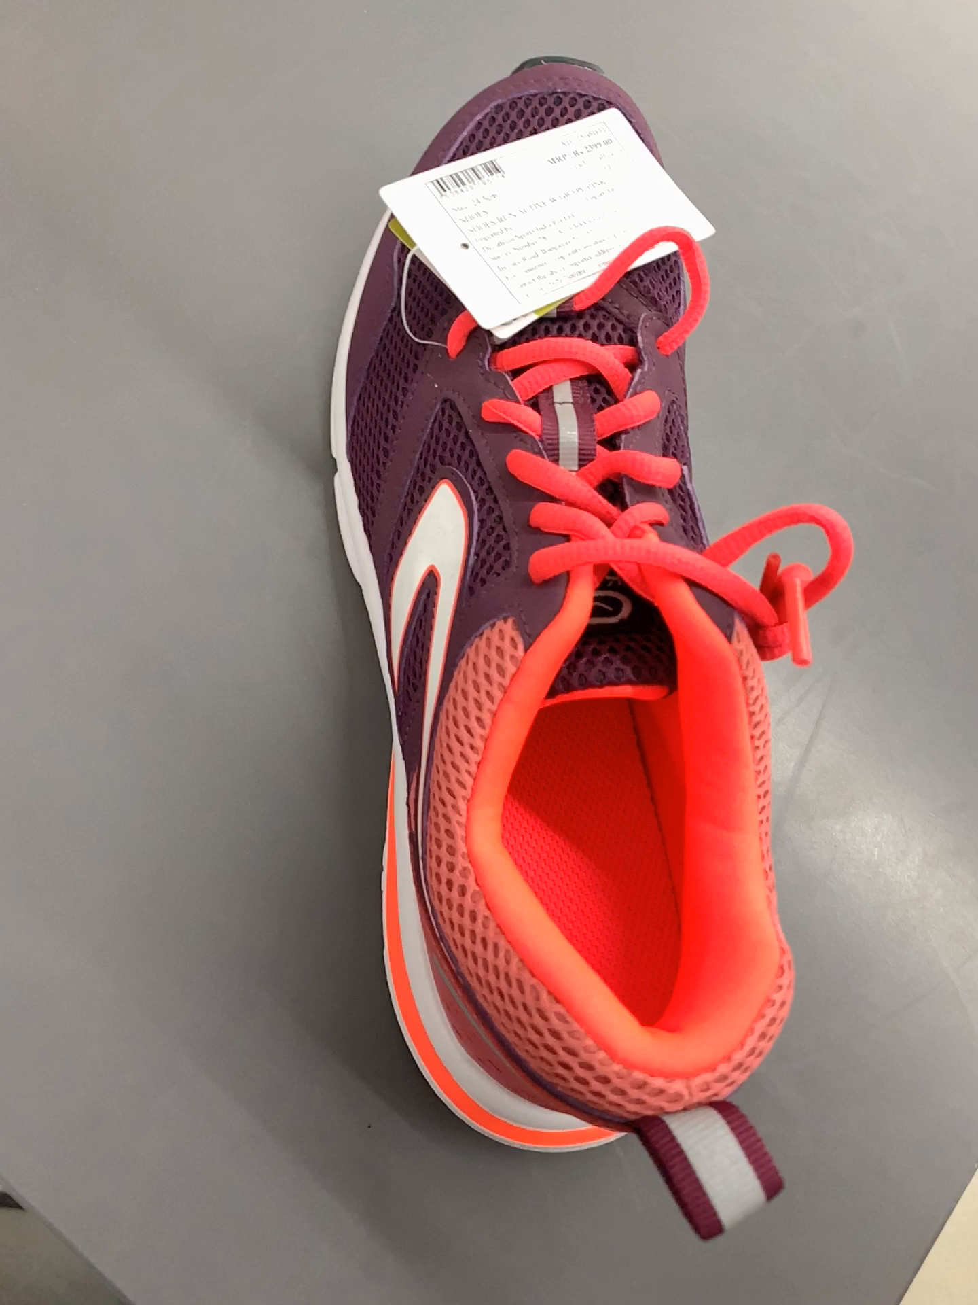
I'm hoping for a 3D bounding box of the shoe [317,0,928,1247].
[{"bbox_3d":[0.013,-0.020,0.267,0.110,0.100,0.280,-1,75,-10],"label":"shoe"}]
